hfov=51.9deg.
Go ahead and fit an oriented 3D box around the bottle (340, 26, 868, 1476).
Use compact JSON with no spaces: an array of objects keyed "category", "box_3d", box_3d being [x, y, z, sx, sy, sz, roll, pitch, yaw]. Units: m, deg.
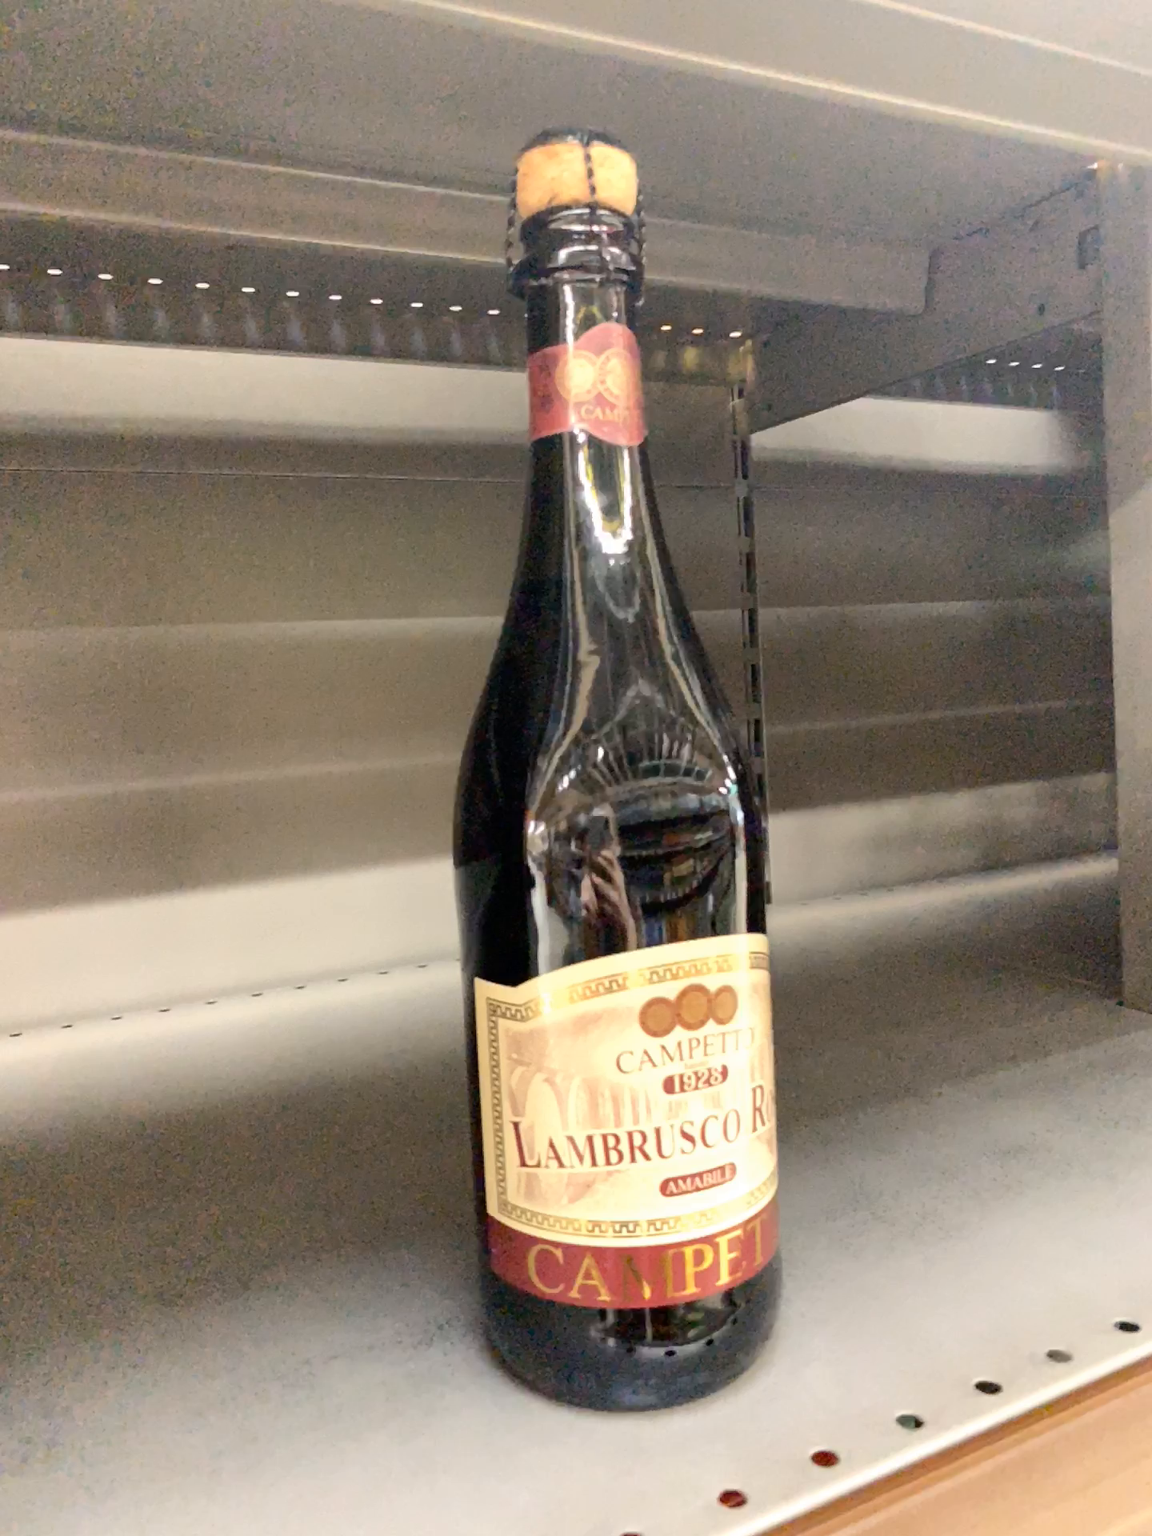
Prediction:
[{"category":"bottle","box_3d":[0.006,-0.003,0.300,0.090,0.300,0.080,-5,4,-27]}]
